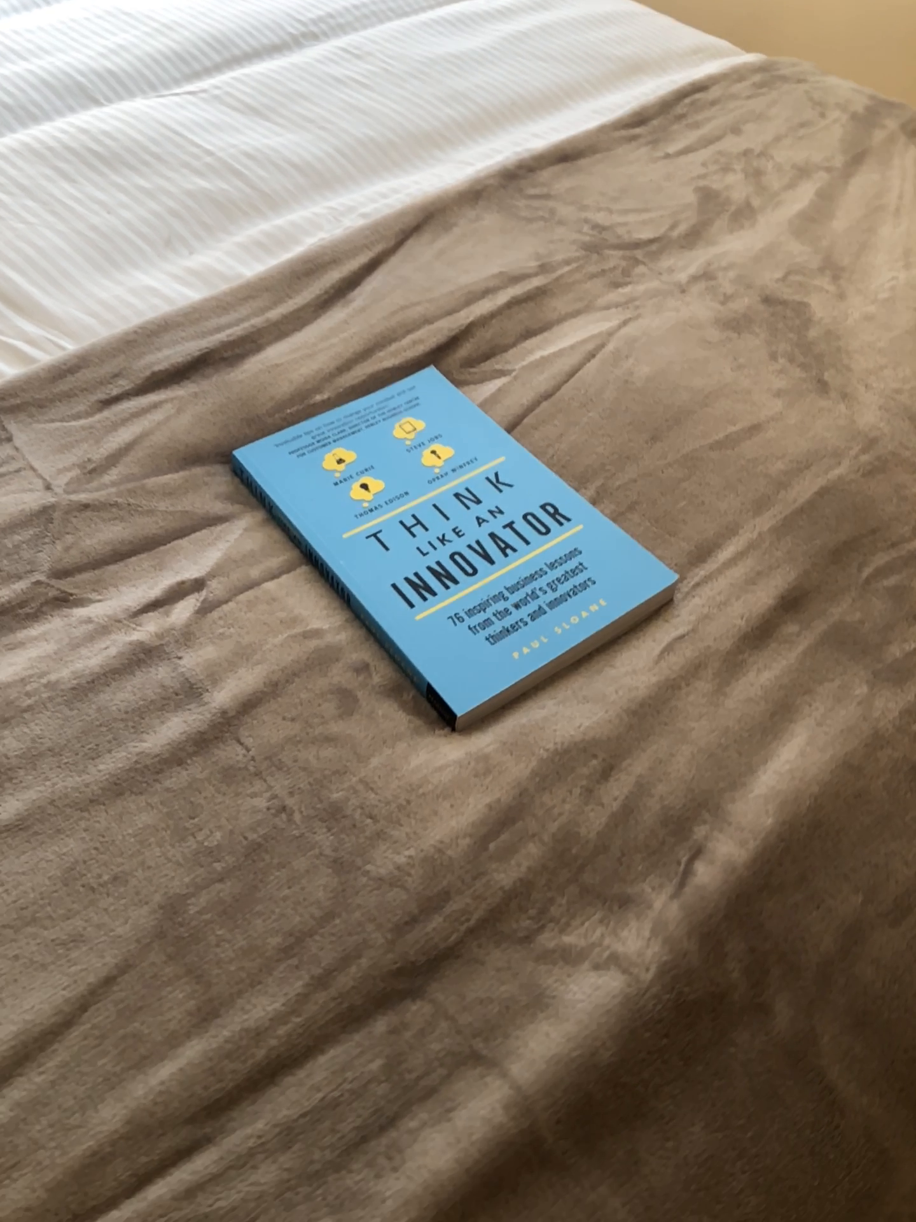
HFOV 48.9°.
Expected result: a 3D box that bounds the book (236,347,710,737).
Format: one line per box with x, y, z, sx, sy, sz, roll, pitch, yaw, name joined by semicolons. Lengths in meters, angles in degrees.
0.000;-0.051;0.526;0.140;0.020;0.220;-30;56;-21;book
